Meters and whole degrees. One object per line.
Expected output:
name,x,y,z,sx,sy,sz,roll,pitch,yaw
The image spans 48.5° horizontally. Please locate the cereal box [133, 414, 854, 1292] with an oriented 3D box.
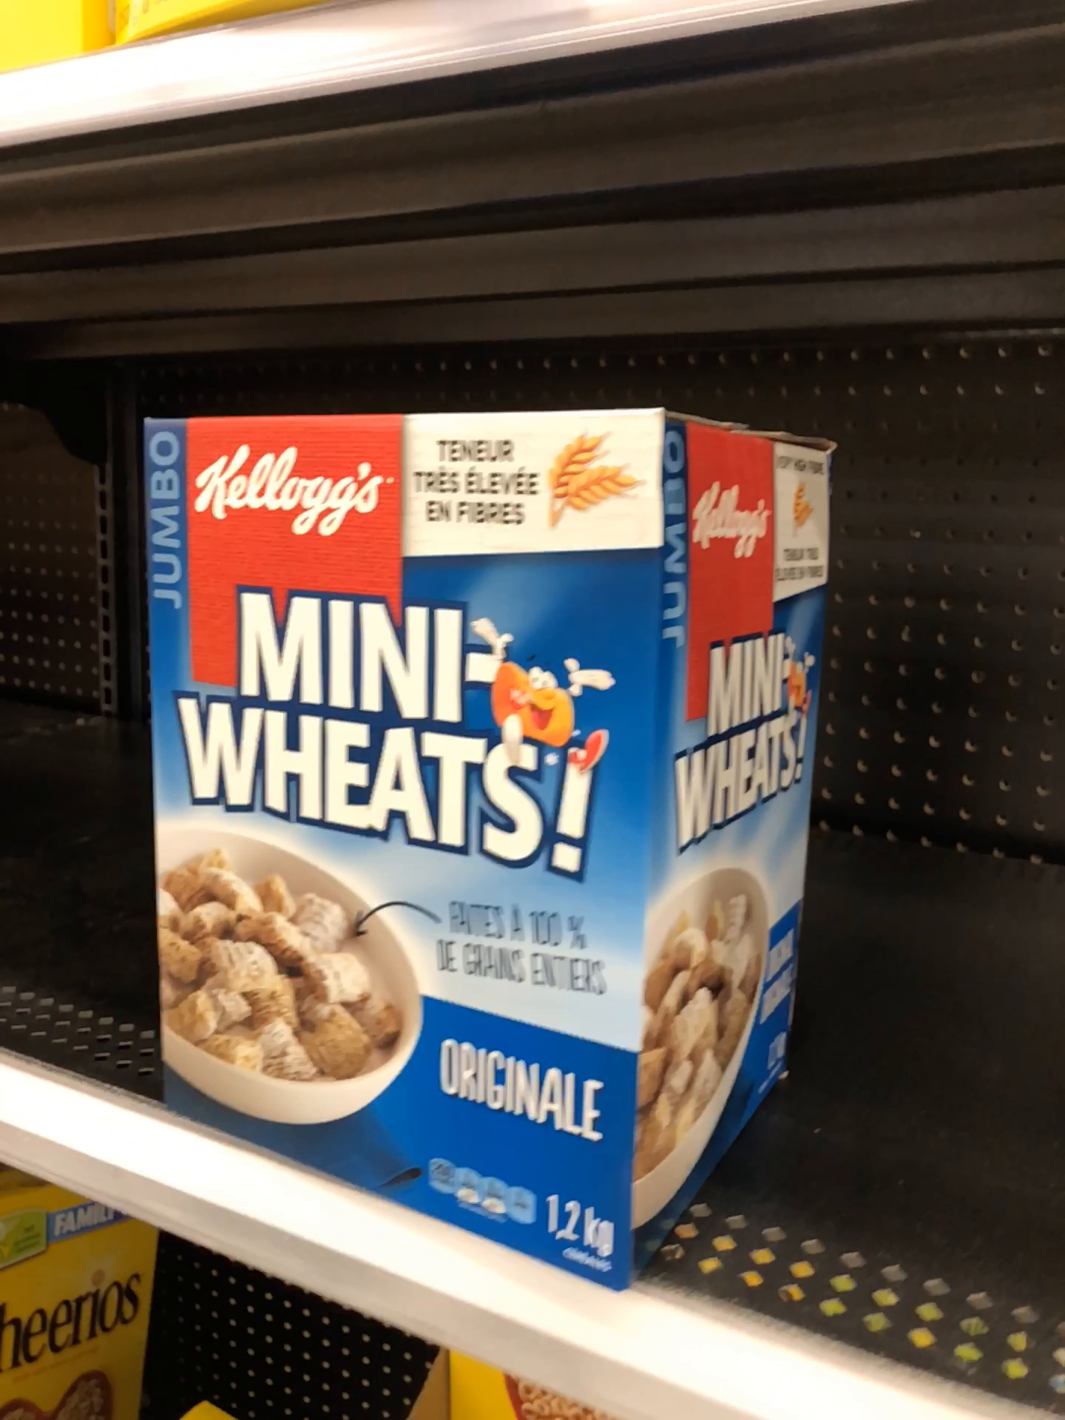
cereal box,-0.010,0.023,0.446,0.200,0.249,0.170,7,11,29
